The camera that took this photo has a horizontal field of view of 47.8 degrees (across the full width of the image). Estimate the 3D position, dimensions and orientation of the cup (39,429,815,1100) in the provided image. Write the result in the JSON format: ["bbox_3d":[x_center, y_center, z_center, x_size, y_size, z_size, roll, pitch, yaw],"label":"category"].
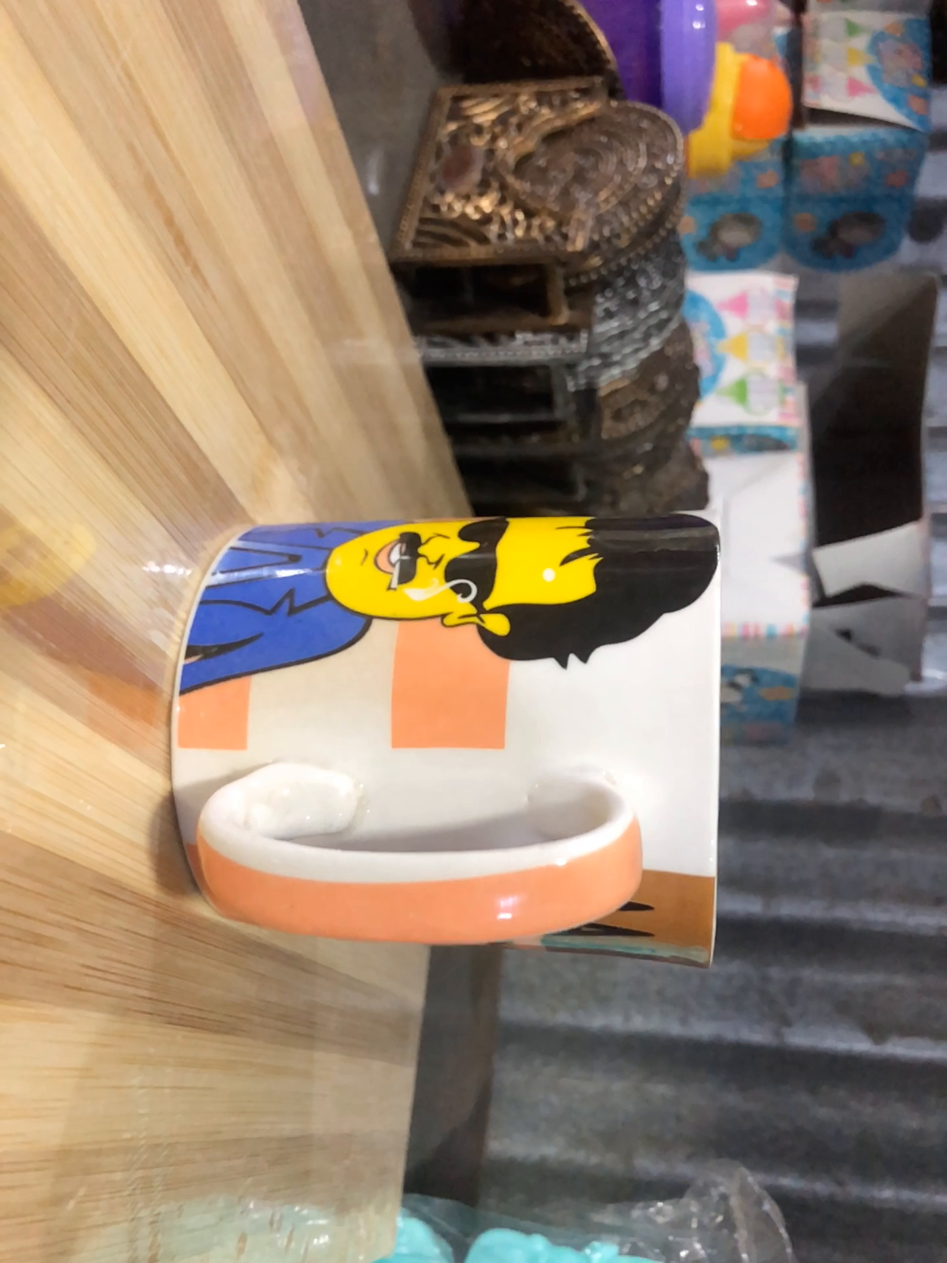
[{"bbox_3d":[0.003,0.008,0.183,0.110,0.090,0.070,-60,151,-70],"label":"cup"}]
